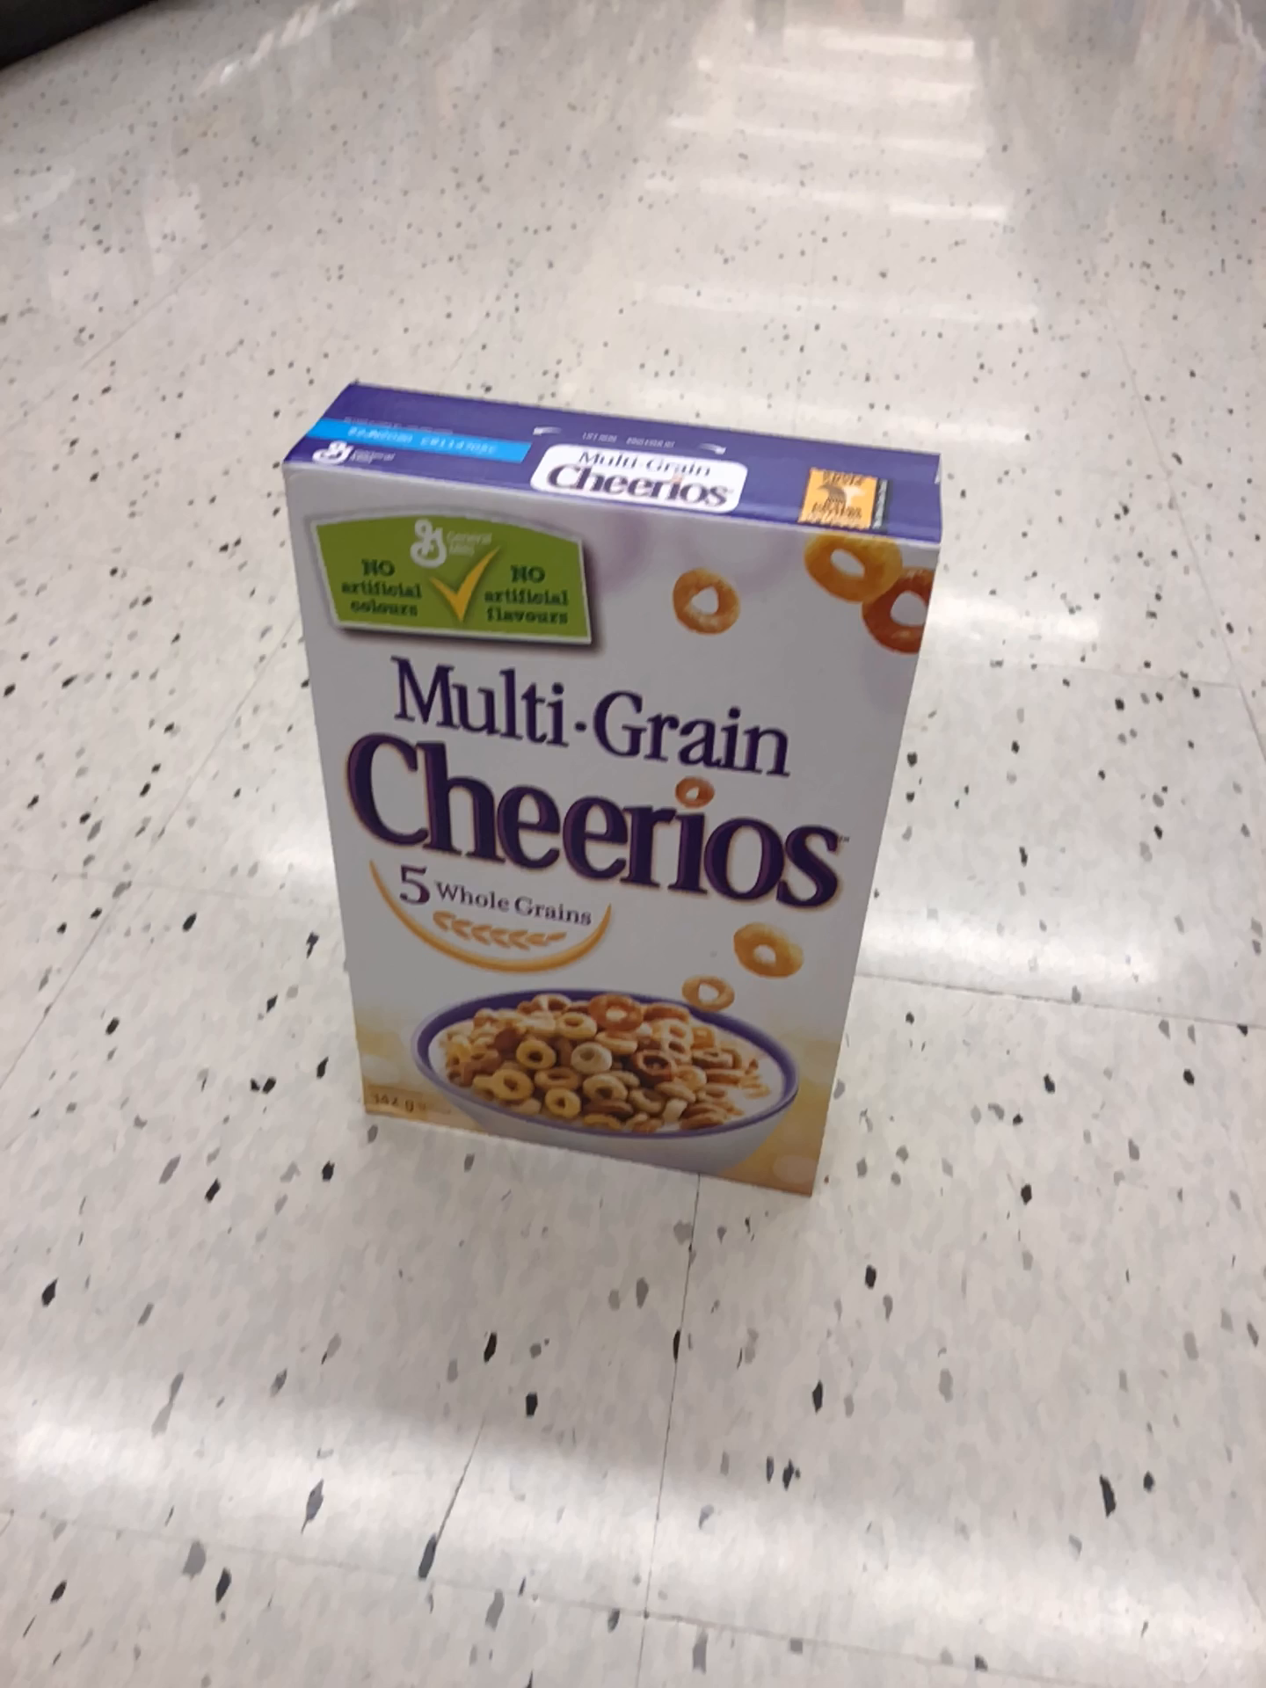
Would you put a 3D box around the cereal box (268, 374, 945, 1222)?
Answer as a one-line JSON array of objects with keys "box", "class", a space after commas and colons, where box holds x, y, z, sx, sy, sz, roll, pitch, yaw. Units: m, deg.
[{"box": [-0.012, 0.003, 0.506, 0.190, 0.308, 0.060, 9, 40, 7], "class": "cereal box"}]
